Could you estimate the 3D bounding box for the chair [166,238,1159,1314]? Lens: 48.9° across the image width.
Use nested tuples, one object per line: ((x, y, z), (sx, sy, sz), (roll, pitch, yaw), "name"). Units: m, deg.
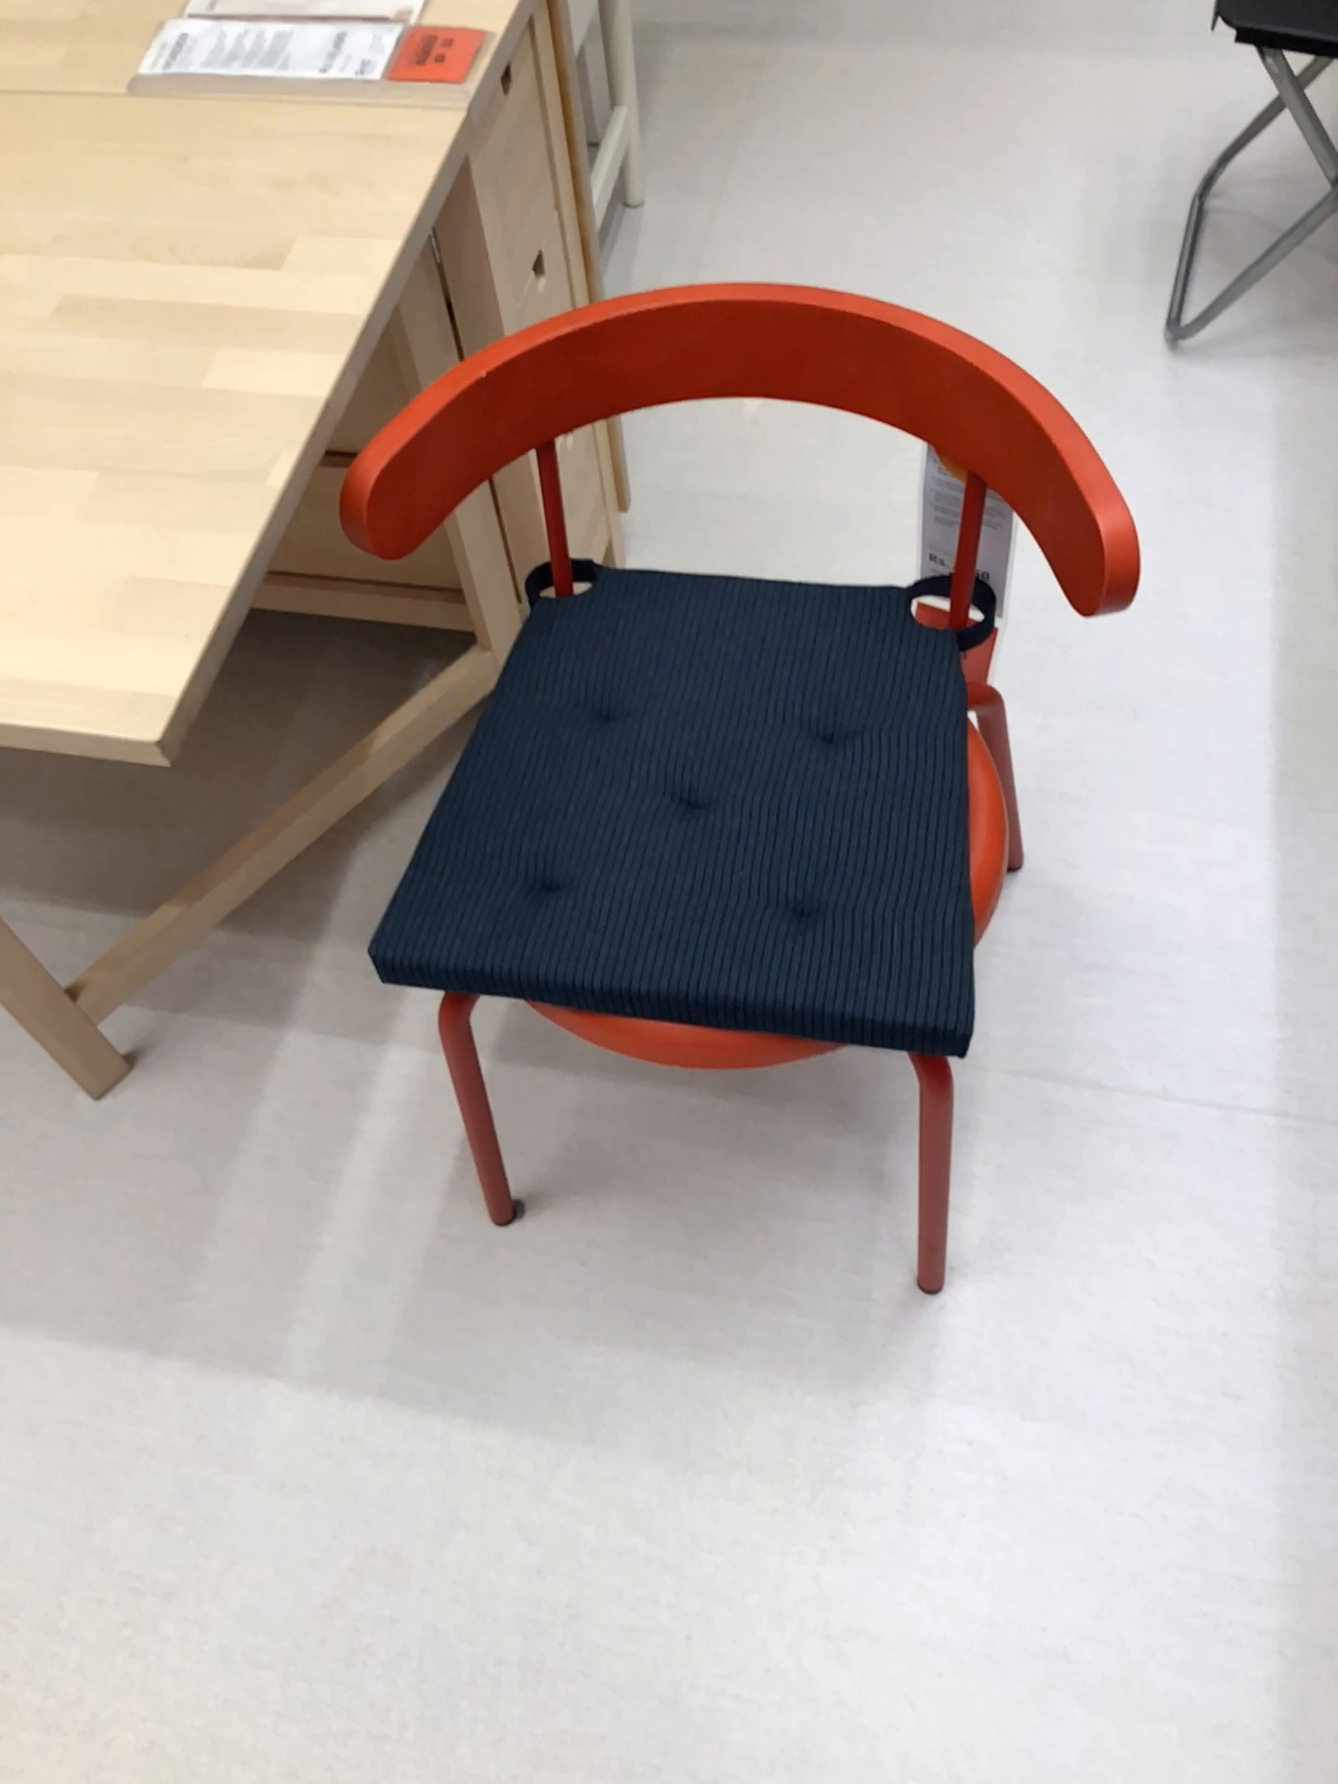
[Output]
((0.052, -0.053, 1.178), (0.520, 0.677, 0.502), (7, 58, 10), "chair")
